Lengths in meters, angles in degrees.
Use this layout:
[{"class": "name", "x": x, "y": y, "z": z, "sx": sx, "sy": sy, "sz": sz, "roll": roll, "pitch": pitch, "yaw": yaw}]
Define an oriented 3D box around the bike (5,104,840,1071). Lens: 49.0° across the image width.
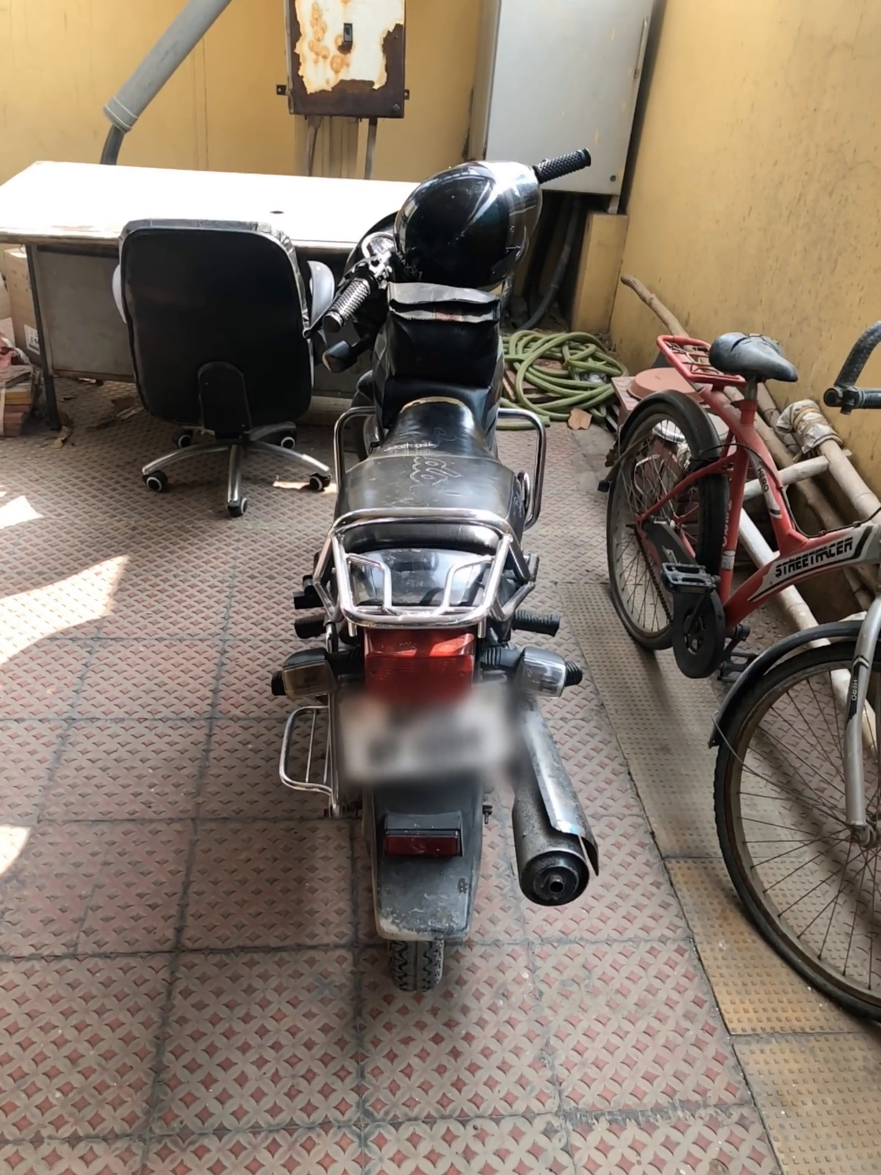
[{"class": "bike", "x": -0.171, "y": -0.196, "z": 1.776, "sx": 0.713, "sy": 1.027, "sz": 1.624, "roll": 1, "pitch": 32, "yaw": -9}]
